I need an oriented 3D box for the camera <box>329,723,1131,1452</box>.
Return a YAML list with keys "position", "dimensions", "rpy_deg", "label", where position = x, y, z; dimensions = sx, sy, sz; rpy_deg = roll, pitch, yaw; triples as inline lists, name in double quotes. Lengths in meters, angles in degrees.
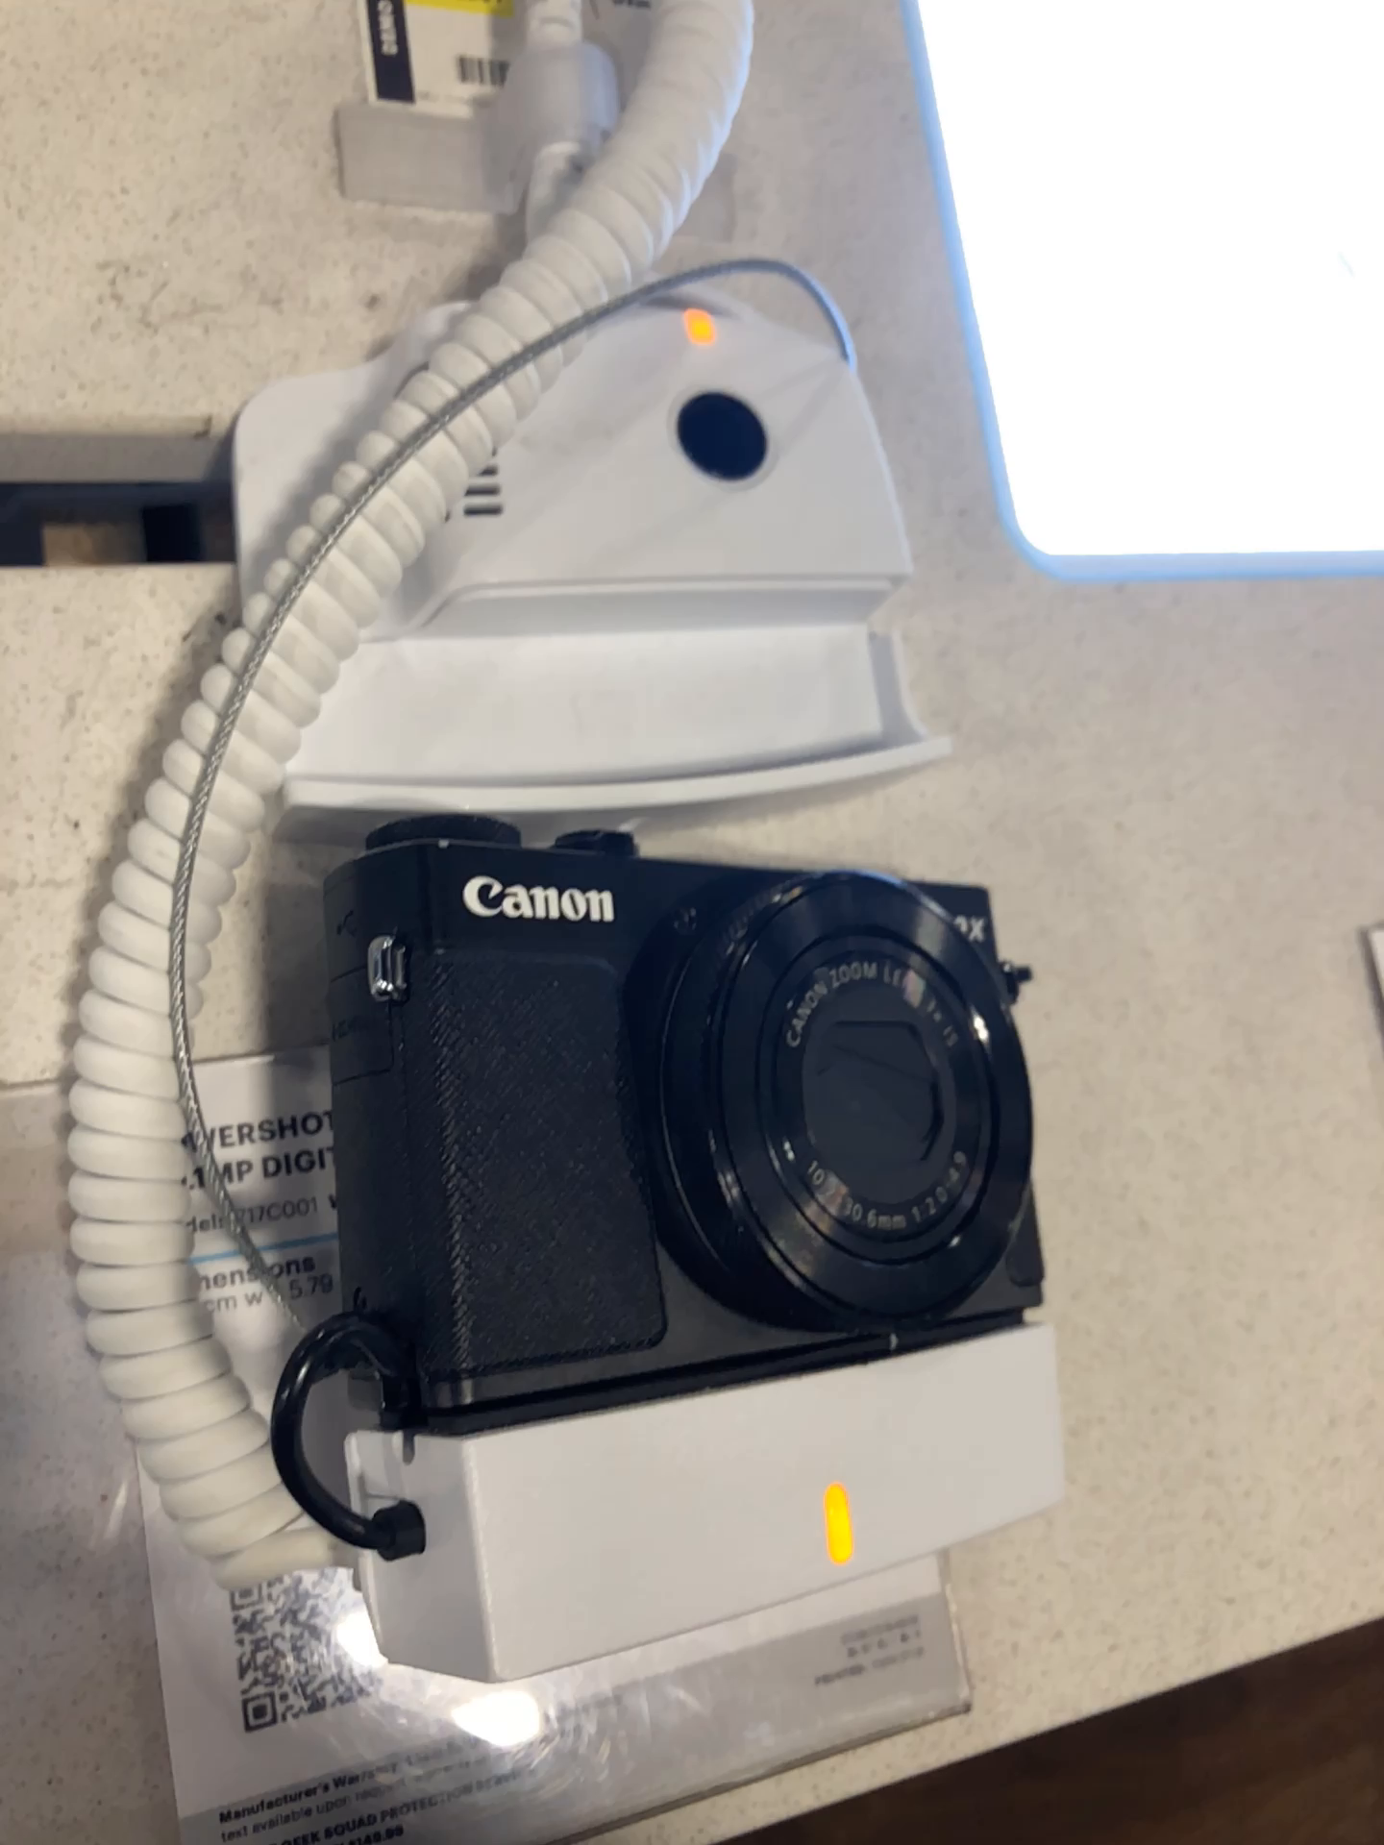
- position: [0.009, 0.018, 0.188]
  dimensions: [0.100, 0.020, 0.070]
  rpy_deg: [2, 76, -39]
  label: "camera"
